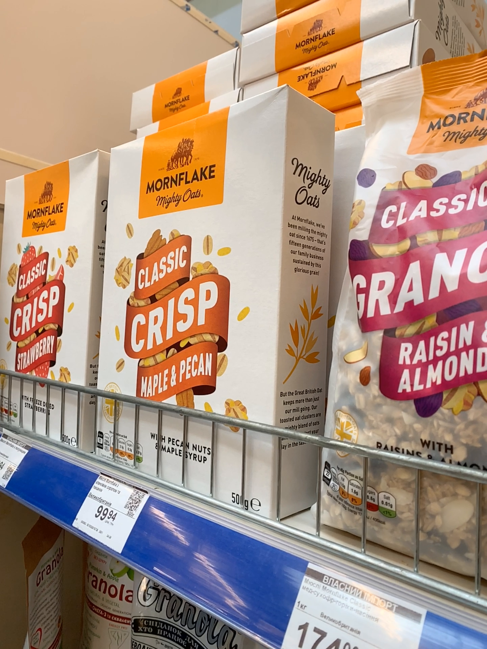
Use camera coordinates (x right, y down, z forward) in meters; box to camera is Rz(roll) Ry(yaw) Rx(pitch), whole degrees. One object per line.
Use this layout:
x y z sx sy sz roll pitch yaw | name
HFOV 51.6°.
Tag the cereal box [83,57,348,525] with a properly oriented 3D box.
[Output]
-0.030 -0.021 0.355 0.190 0.250 0.060 1 -2 42 | cereal box
